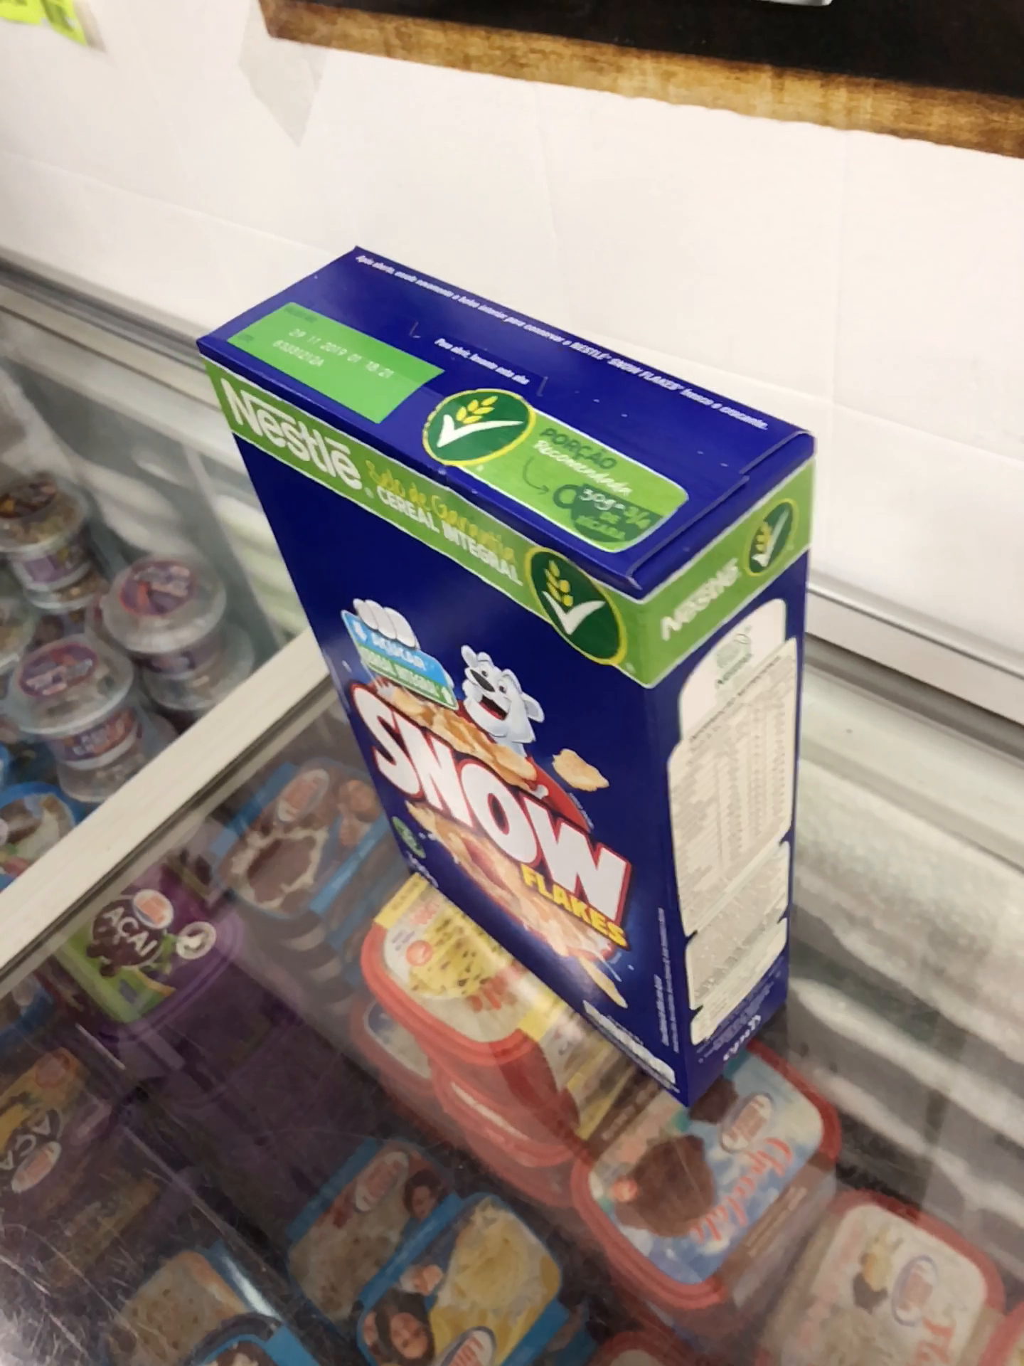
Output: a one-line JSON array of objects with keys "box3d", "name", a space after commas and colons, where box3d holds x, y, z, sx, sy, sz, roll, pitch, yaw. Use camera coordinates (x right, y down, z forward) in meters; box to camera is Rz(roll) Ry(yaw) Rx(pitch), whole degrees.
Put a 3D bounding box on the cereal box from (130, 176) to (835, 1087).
[{"box3d": [0.004, -0.003, 0.364, 0.171, 0.258, 0.070, 33, 62, 34], "name": "cereal box"}]
